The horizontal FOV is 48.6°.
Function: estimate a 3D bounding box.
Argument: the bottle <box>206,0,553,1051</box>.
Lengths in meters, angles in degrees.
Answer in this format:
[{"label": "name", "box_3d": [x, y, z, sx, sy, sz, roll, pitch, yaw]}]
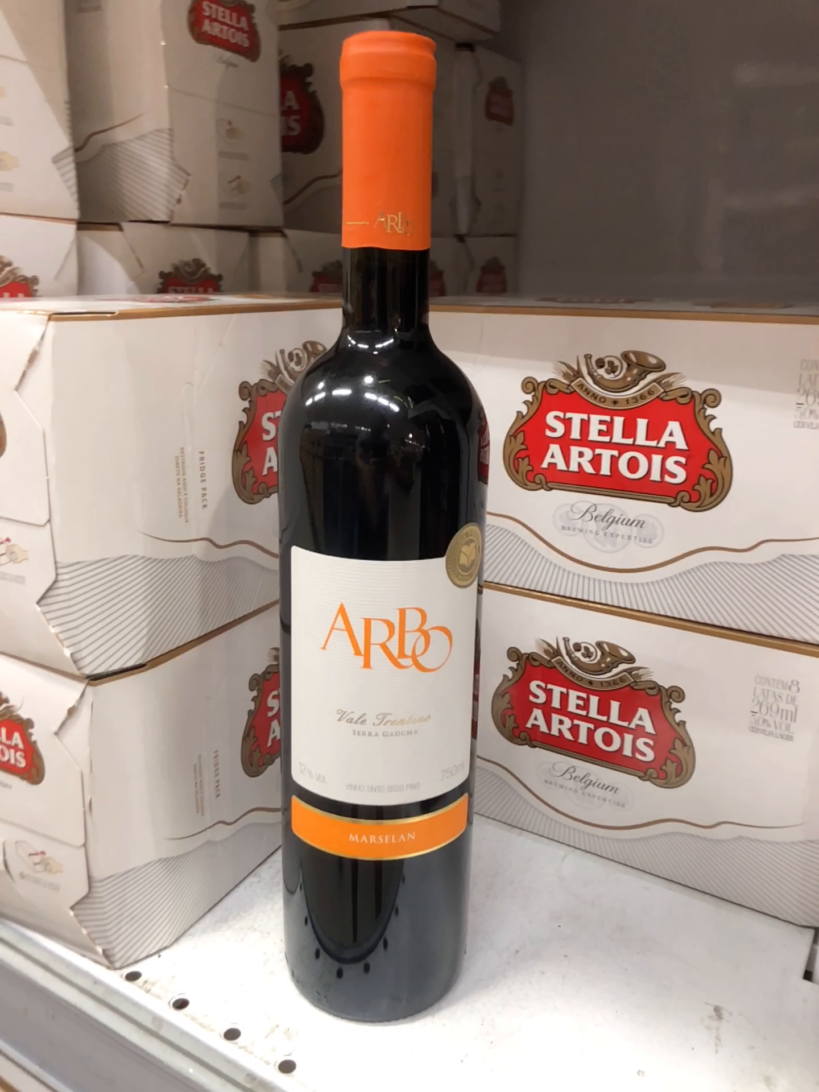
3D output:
[{"label": "bottle", "box_3d": [-0.011, 0.007, 0.289, 0.080, 0.308, 0.070, -2, 18, -6]}]
